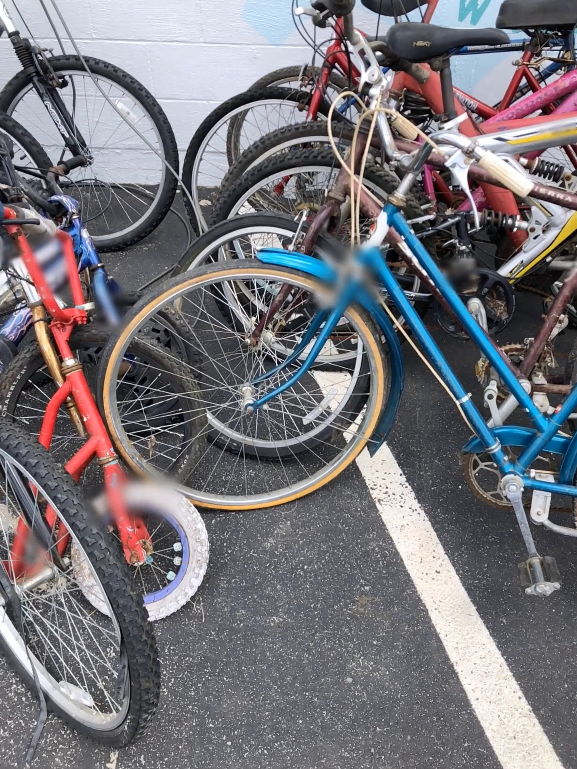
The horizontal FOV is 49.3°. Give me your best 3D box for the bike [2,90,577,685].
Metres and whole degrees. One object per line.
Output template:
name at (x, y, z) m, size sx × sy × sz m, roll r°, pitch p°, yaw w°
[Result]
bike at (0.403, -0.021, 1.184) m, size 1.481 × 0.760 × 0.478 m, roll 10°, pitch 41°, yaw 10°
